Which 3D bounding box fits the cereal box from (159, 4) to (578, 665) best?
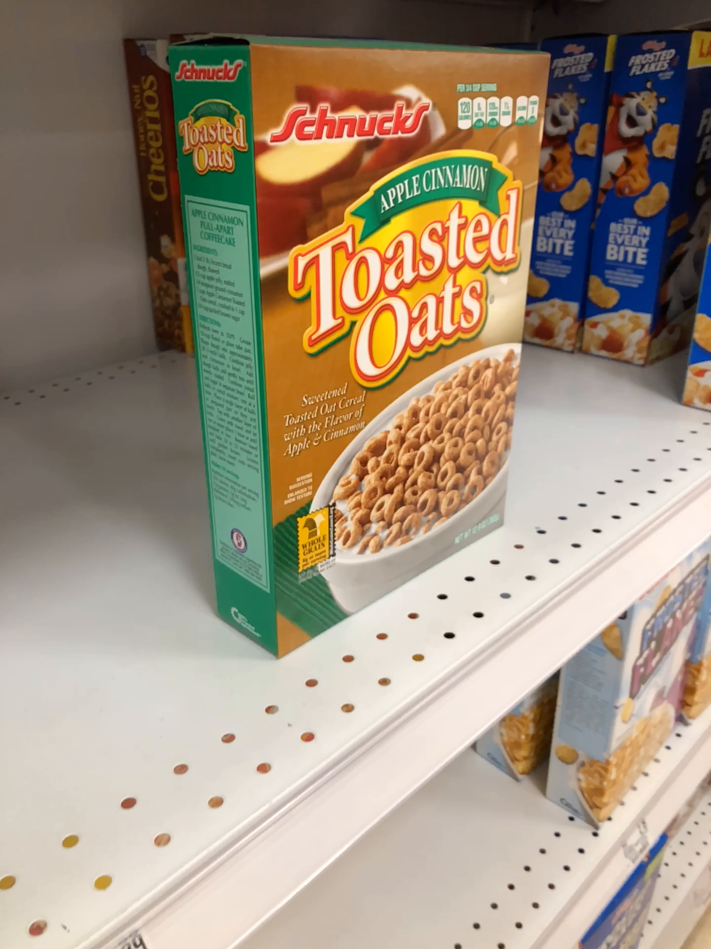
[{"bbox_3d":[0.018,-0.074,0.416,0.060,0.279,0.210,23,33,39],"label":"cereal box"}]
